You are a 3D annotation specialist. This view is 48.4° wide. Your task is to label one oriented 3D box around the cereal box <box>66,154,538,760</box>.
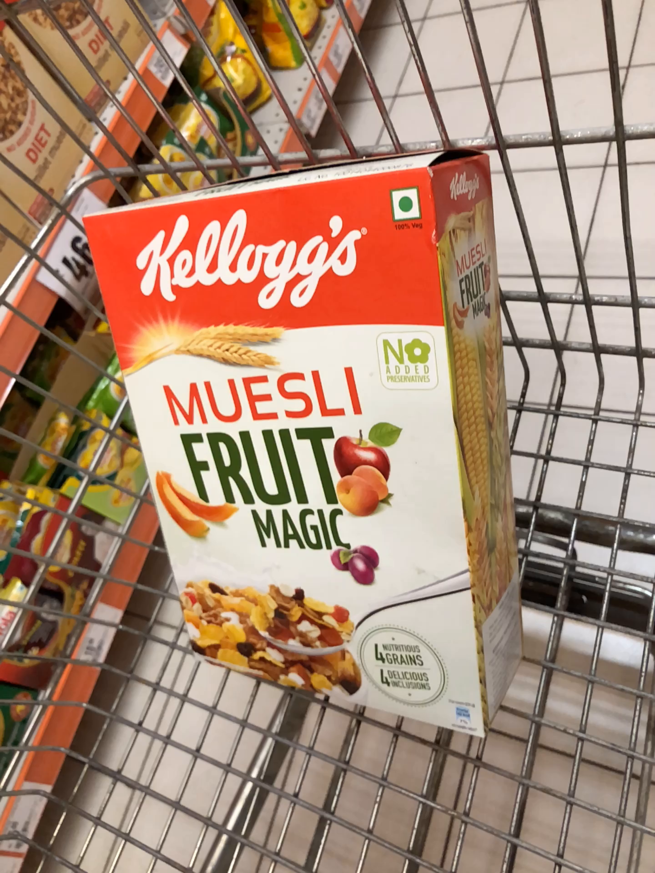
[{"bbox_3d":[-0.004,0.009,0.384,0.200,0.269,0.080,3,22,28],"label":"cereal box"}]
